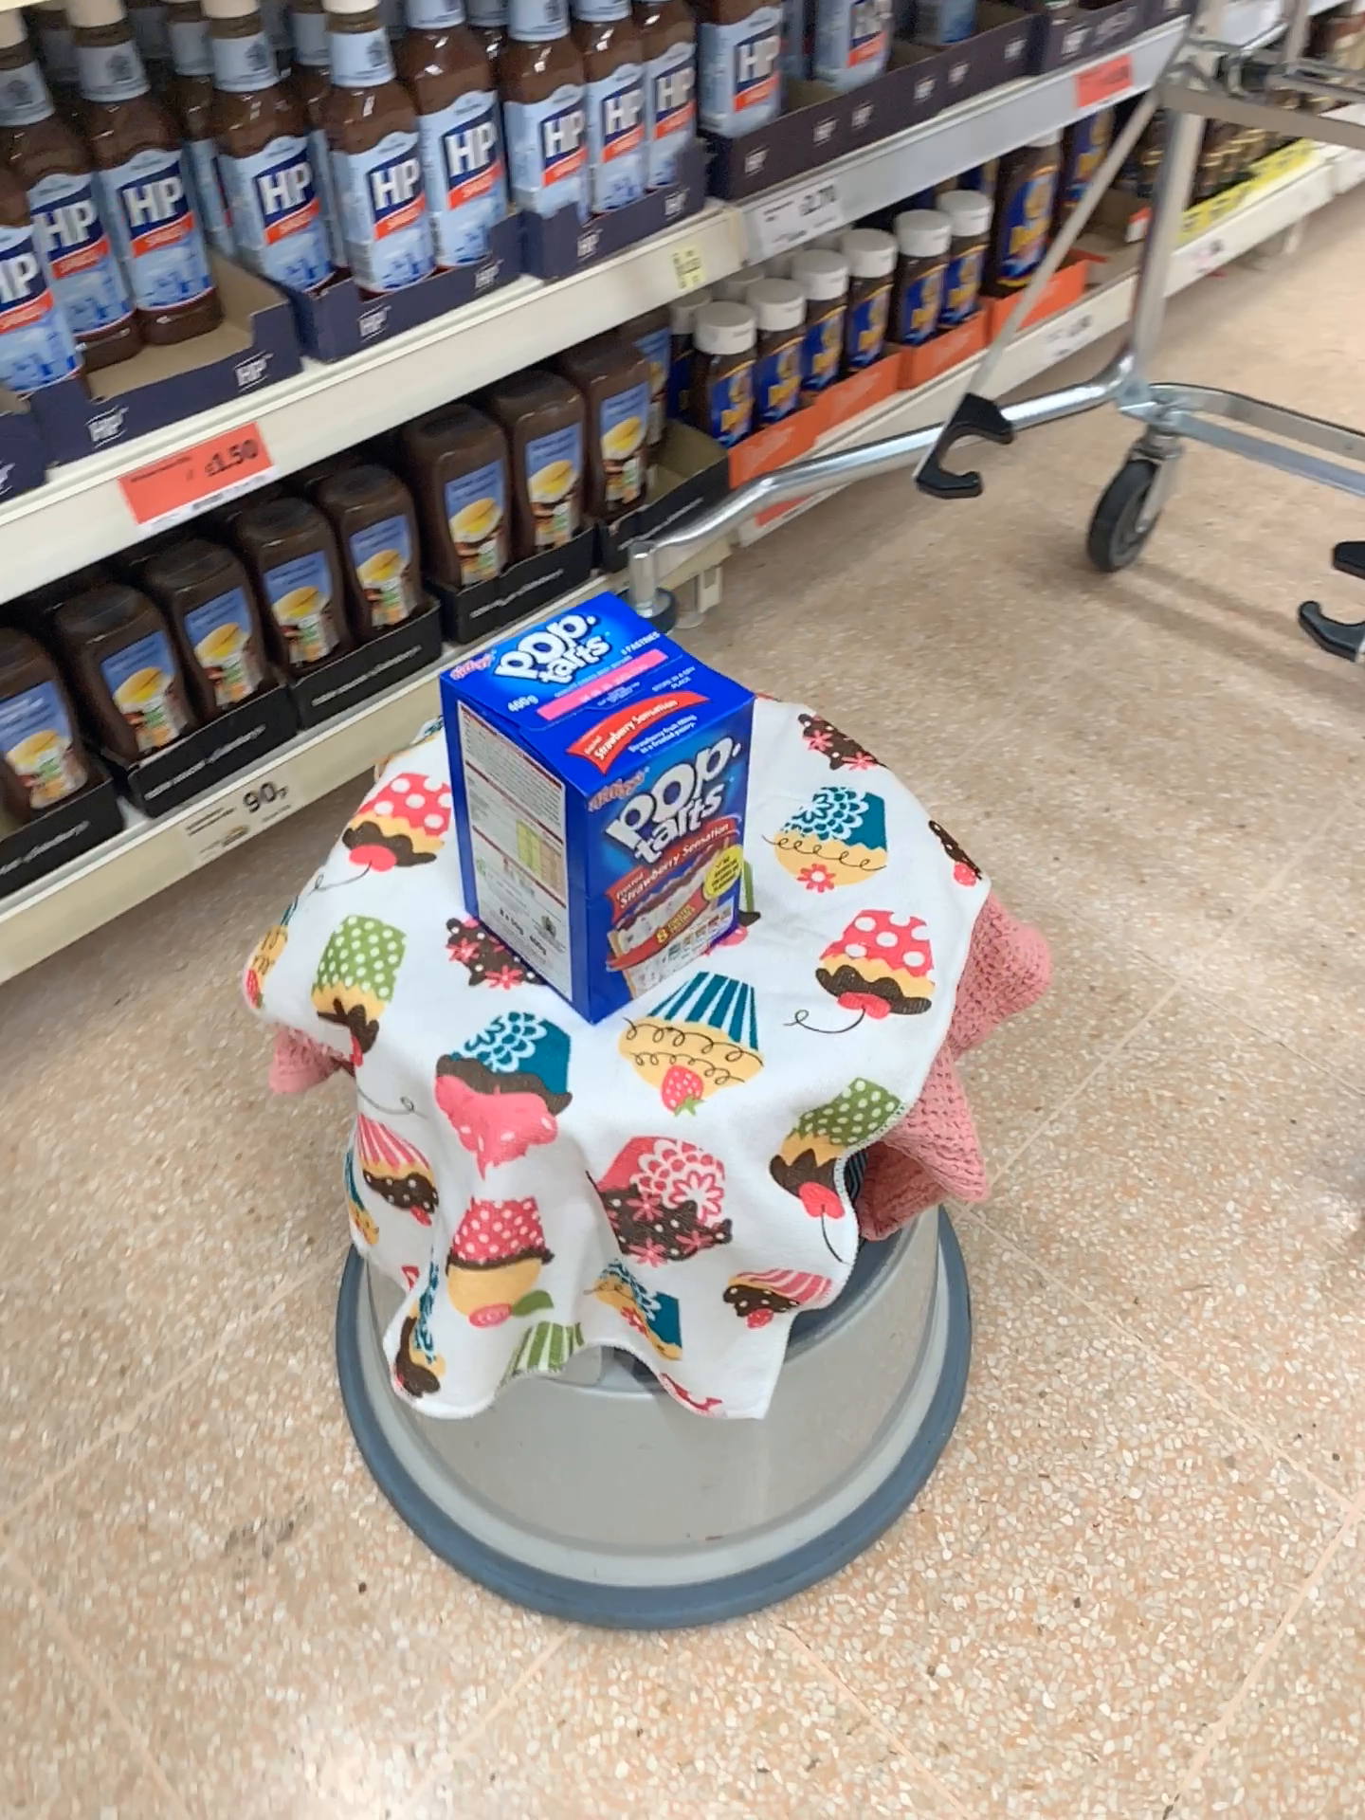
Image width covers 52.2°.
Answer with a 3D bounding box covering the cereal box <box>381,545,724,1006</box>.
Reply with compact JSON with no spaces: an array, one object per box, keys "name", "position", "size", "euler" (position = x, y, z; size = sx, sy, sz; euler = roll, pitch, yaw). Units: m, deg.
[{"name":"cereal box","position":[-0.051,-0.056,0.589],"size":[0.090,0.139,0.100],"euler":[-33,55,-27]}]
